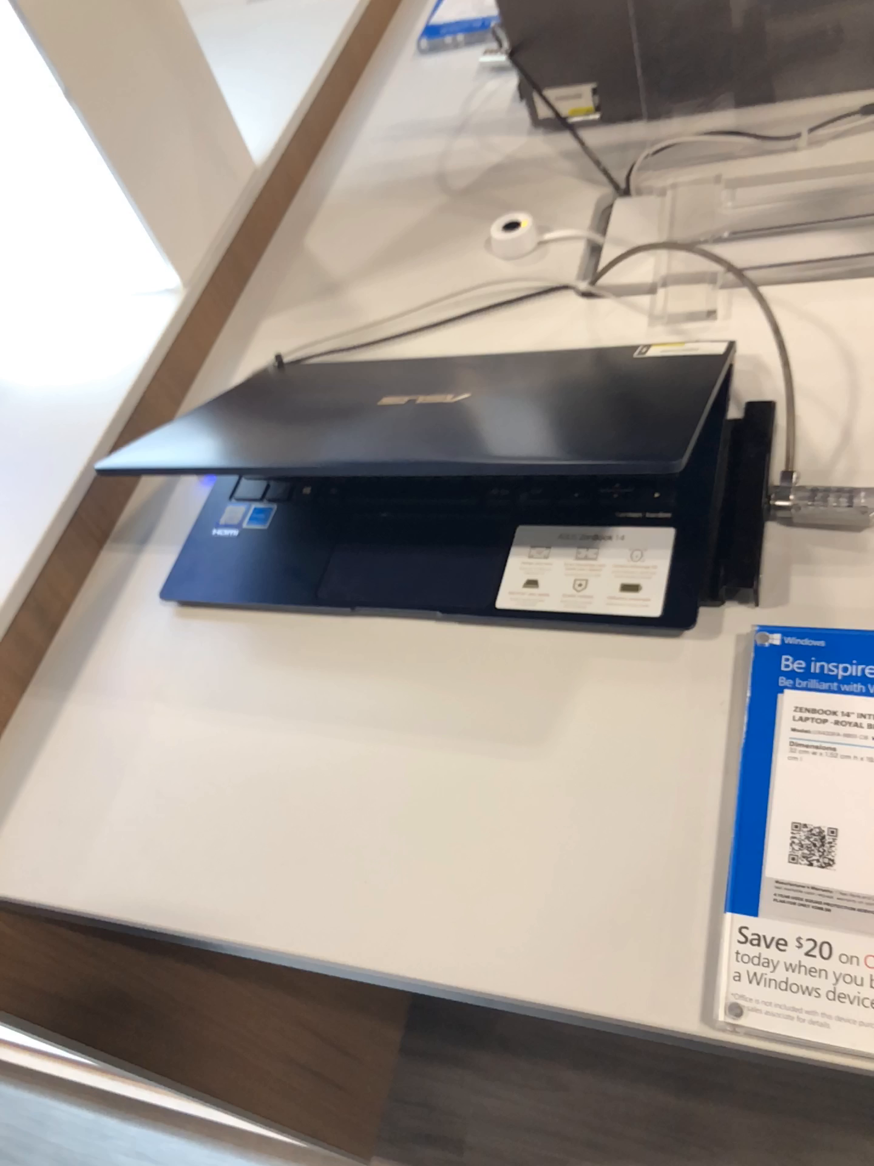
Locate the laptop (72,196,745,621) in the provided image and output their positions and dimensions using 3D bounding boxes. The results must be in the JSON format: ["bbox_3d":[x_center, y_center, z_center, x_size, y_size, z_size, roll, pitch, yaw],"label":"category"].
[{"bbox_3d":[-0.004,-0.097,0.535,0.310,0.095,0.203,3,53,22],"label":"laptop"}]
